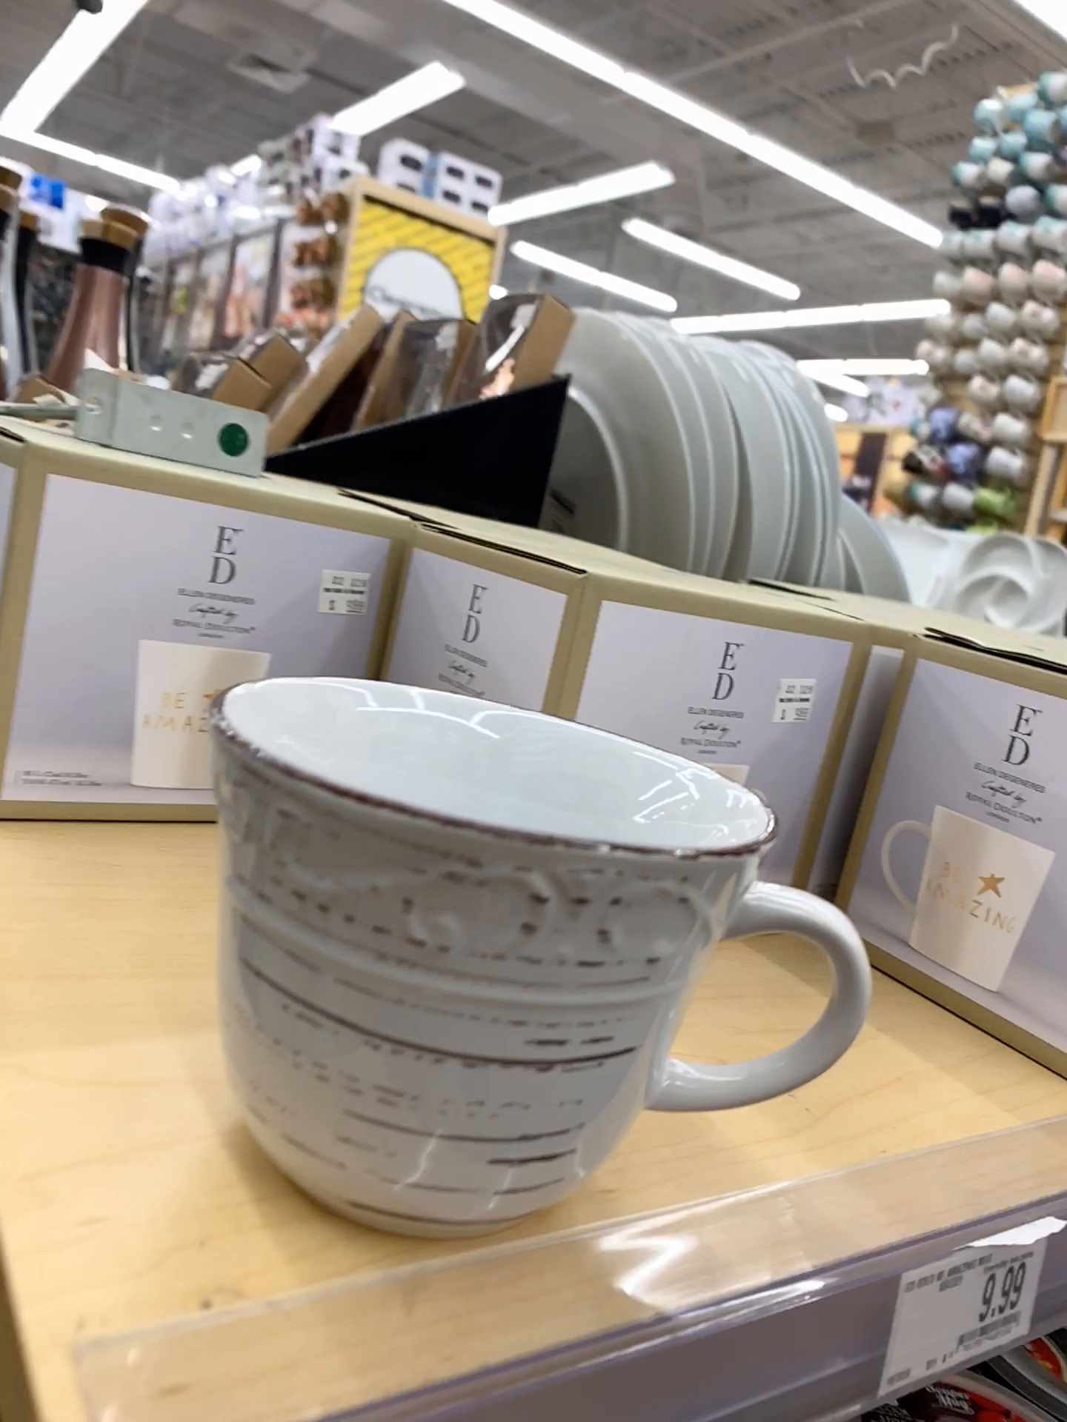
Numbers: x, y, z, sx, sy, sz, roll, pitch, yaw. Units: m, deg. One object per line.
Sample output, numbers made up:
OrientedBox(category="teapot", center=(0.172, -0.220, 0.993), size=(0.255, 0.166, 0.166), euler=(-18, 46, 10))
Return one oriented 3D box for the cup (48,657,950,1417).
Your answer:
OrientedBox(category="cup", center=(0.001, 0.042, 0.216), size=(0.124, 0.075, 0.114), euler=(11, 9, -2))
